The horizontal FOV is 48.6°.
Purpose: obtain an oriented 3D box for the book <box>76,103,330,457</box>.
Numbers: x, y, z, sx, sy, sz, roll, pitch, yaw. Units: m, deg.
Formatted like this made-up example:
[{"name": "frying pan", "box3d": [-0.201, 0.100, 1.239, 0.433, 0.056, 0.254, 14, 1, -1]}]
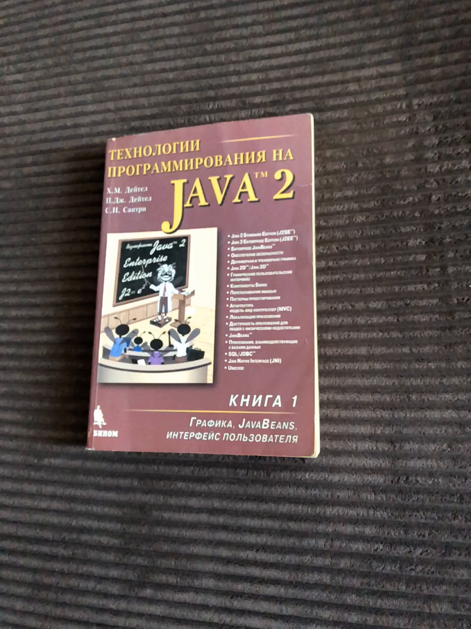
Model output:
[{"name": "book", "box3d": [-0.020, -0.023, 0.382, 0.165, 0.050, 0.240, -3, 76, 13]}]
